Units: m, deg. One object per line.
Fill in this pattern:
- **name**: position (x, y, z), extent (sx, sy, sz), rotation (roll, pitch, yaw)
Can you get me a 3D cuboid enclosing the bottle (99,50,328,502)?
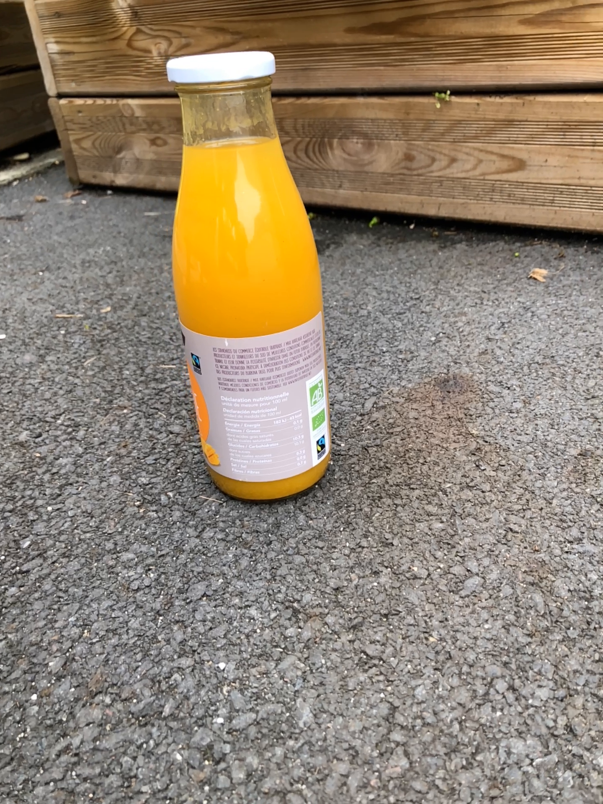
- **bottle**: position (-0.032, -0.059, 0.342), extent (0.080, 0.209, 0.080), rotation (-3, 28, 2)
